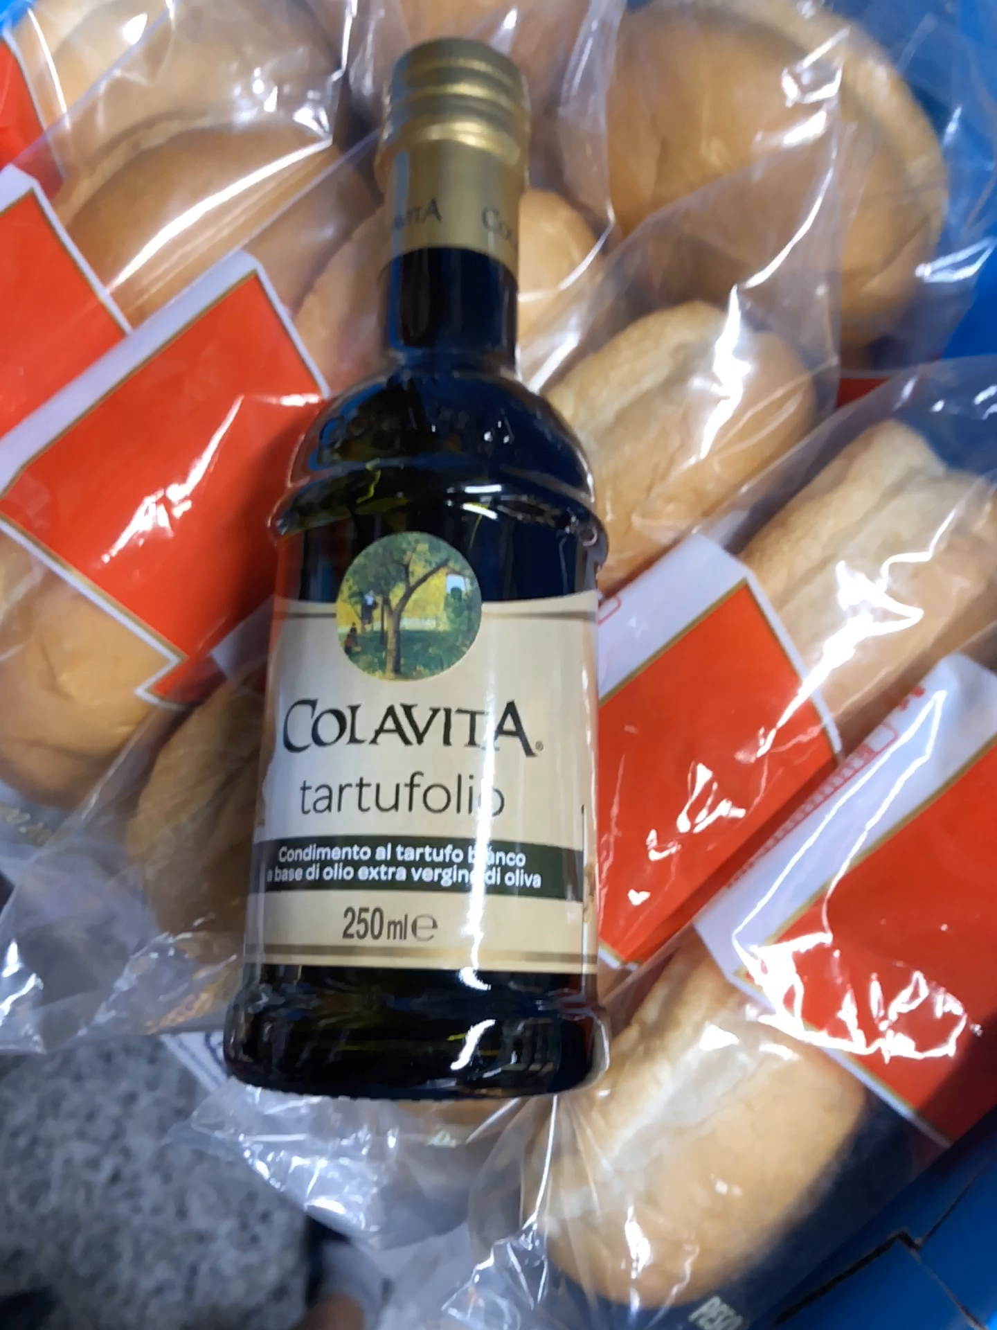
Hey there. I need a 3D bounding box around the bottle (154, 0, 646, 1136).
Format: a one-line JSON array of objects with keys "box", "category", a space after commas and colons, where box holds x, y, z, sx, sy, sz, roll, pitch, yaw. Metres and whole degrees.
[{"box": [-0.011, -0.033, 0.206, 0.070, 0.060, 0.210, -1, 79, 7], "category": "bottle"}]
